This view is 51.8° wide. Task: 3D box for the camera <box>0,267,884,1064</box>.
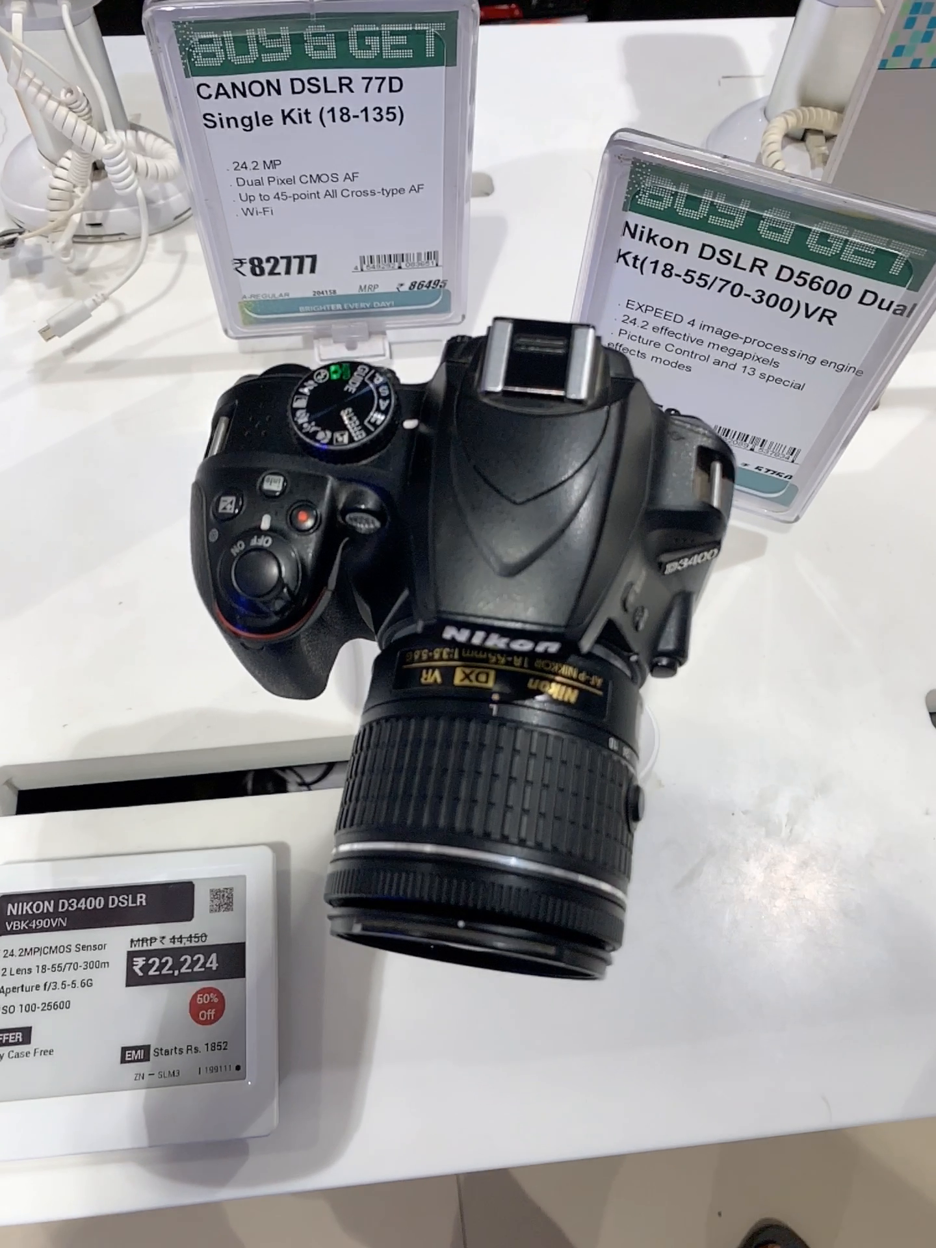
[{"bbox_3d":[0.000,0.011,0.188,0.120,0.080,0.120,7,63,2],"label":"camera"}]
